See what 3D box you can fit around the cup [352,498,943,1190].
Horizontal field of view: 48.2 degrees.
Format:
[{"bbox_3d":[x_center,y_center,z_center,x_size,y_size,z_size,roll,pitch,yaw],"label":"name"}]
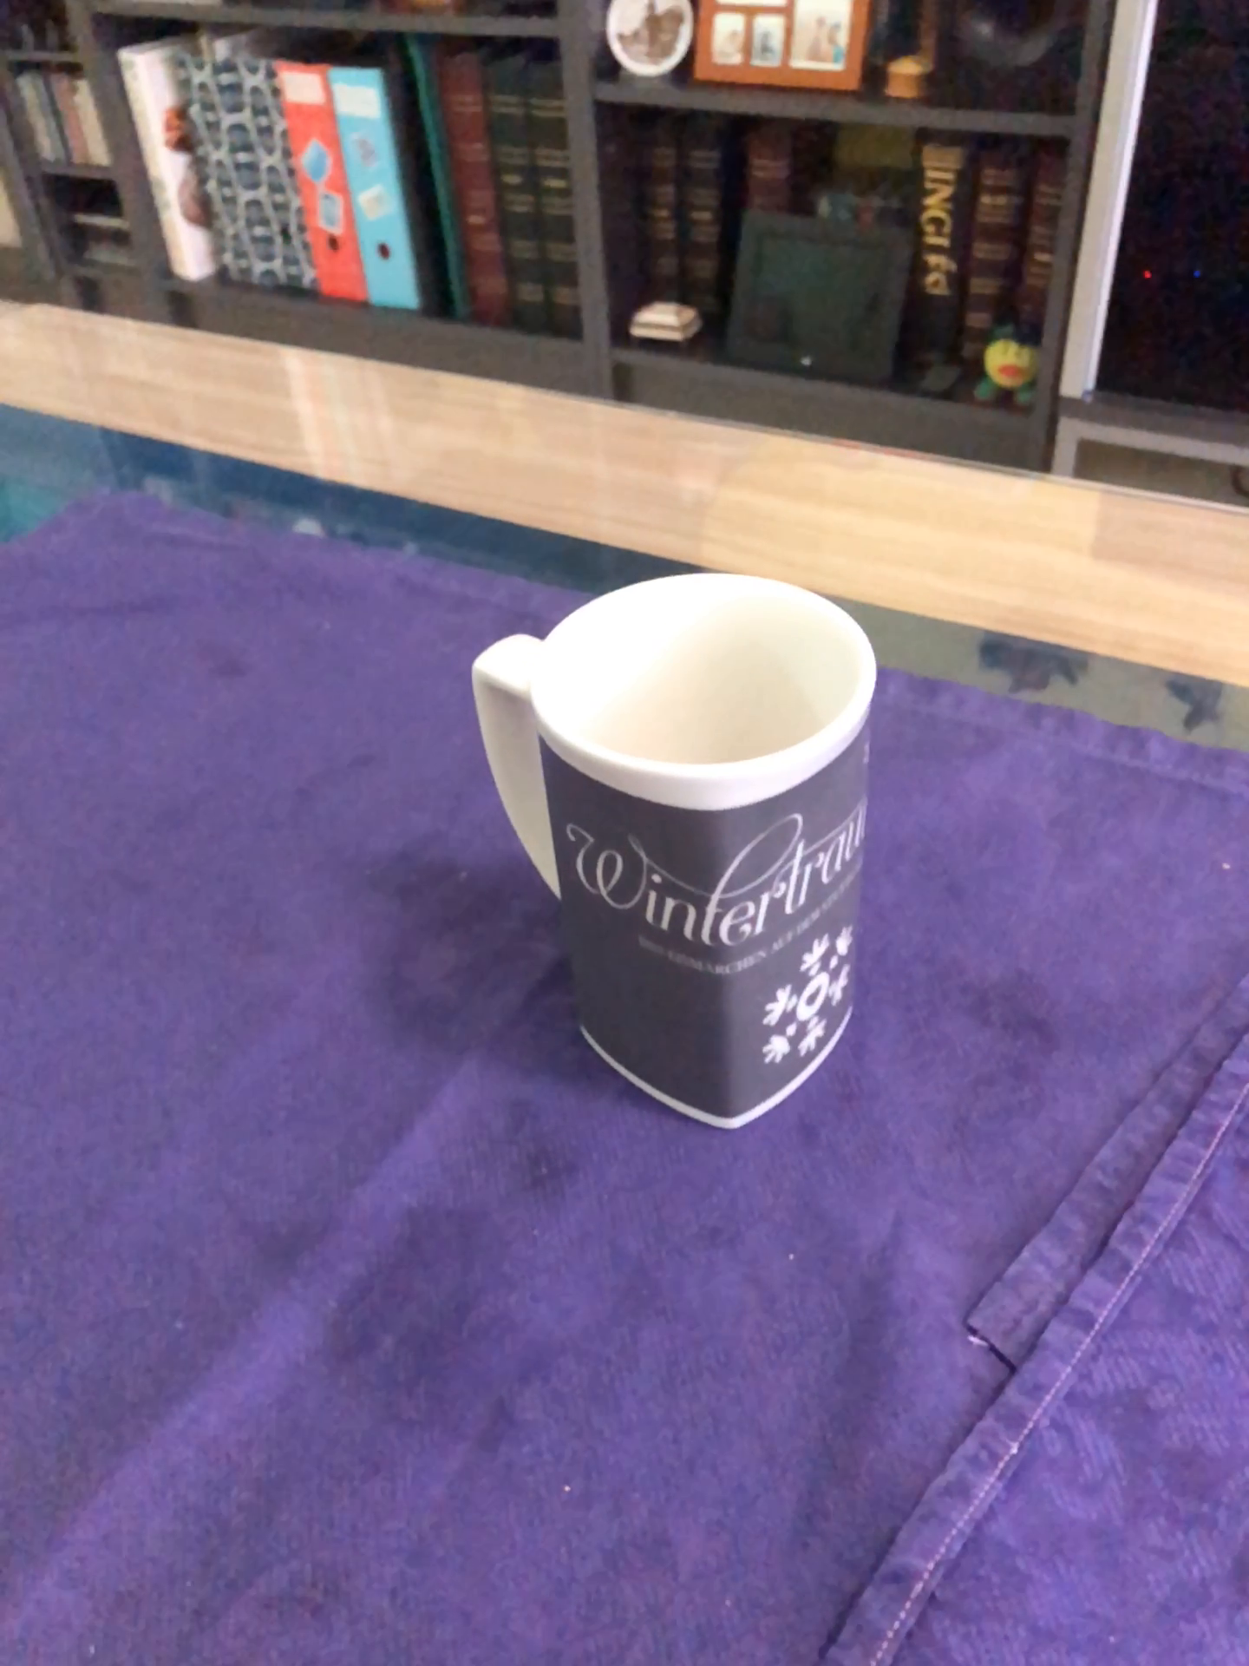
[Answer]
[{"bbox_3d":[0.007,0.000,0.322,0.100,0.110,0.070,28,50,33],"label":"cup"}]
